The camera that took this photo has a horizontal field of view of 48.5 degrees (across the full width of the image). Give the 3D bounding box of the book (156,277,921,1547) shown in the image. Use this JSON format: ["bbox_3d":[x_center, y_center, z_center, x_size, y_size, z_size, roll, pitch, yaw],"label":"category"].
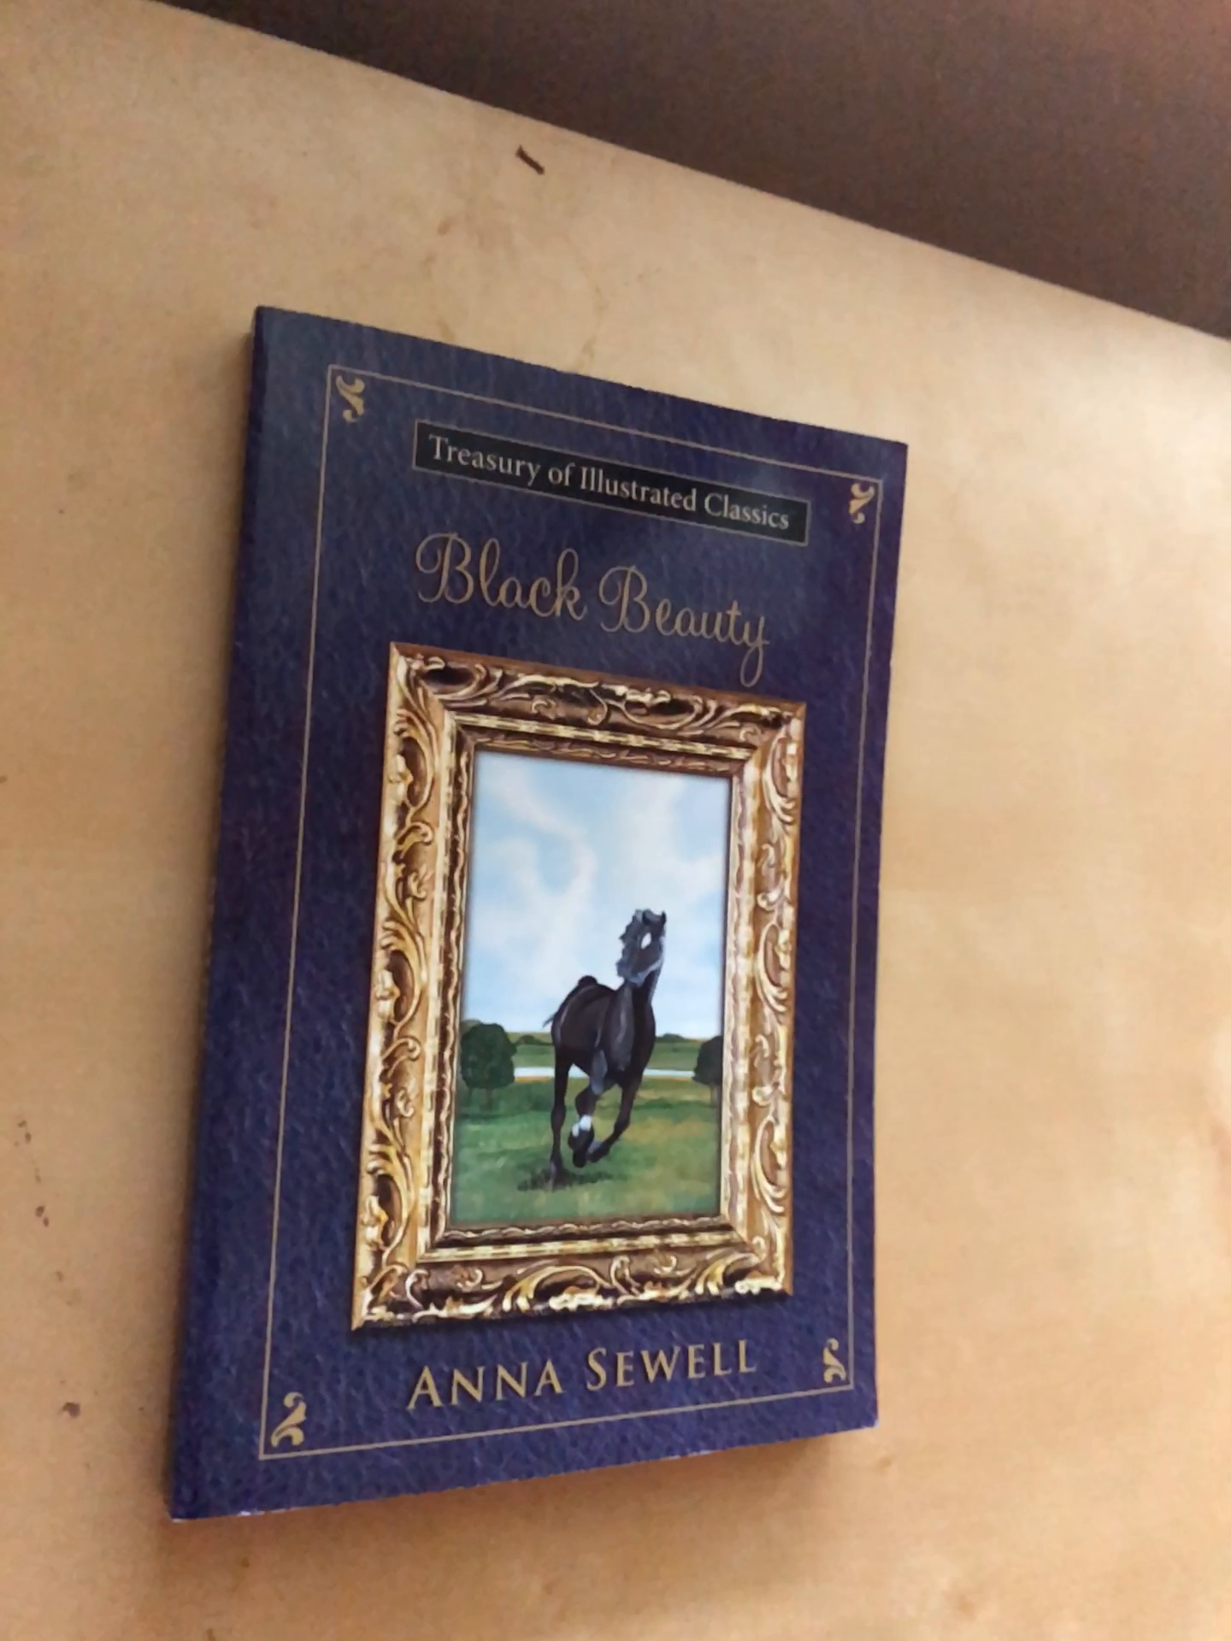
[{"bbox_3d":[-0.007,0.015,0.244,0.126,0.025,0.193,5,83,-24],"label":"book"}]
